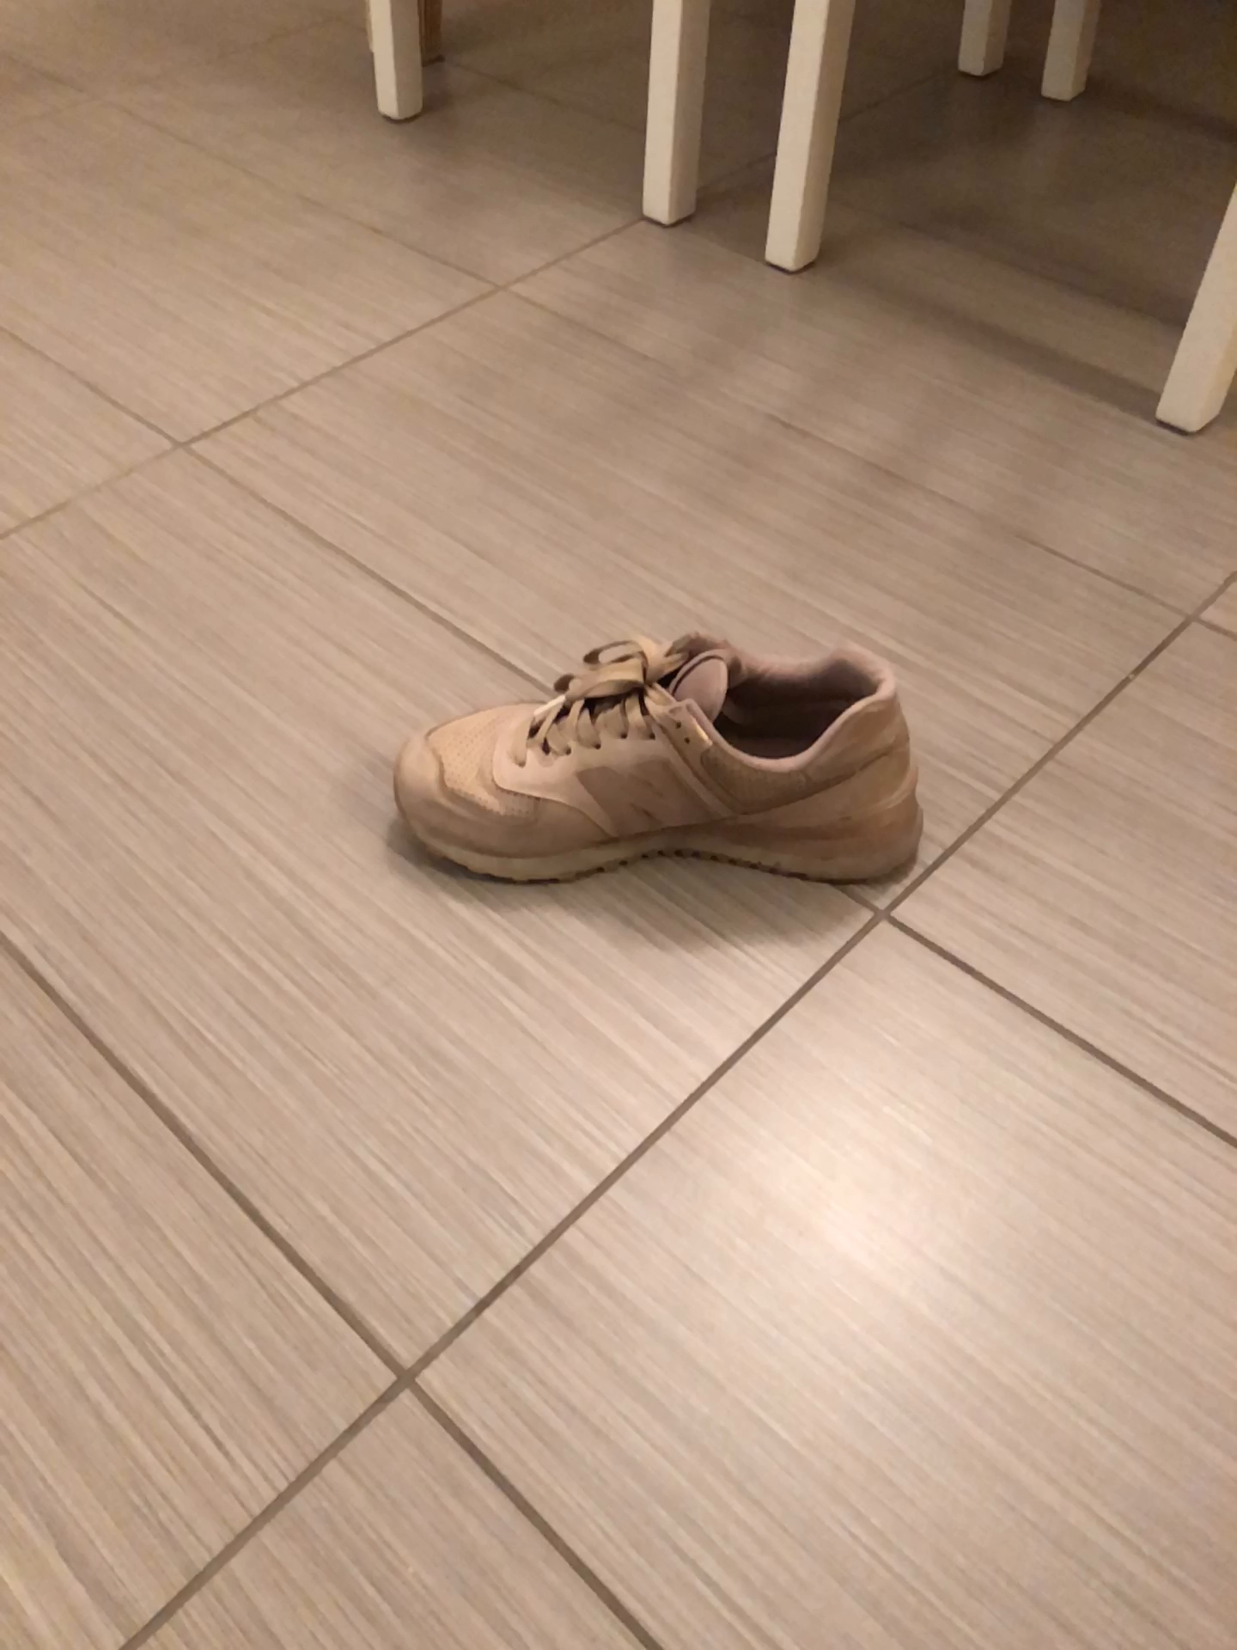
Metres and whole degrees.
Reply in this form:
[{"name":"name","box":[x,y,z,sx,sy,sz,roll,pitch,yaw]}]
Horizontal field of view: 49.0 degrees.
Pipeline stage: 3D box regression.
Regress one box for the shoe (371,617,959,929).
[{"name":"shoe","box":[0.027,-0.028,0.684,0.270,0.089,0.101,5,48,7]}]
